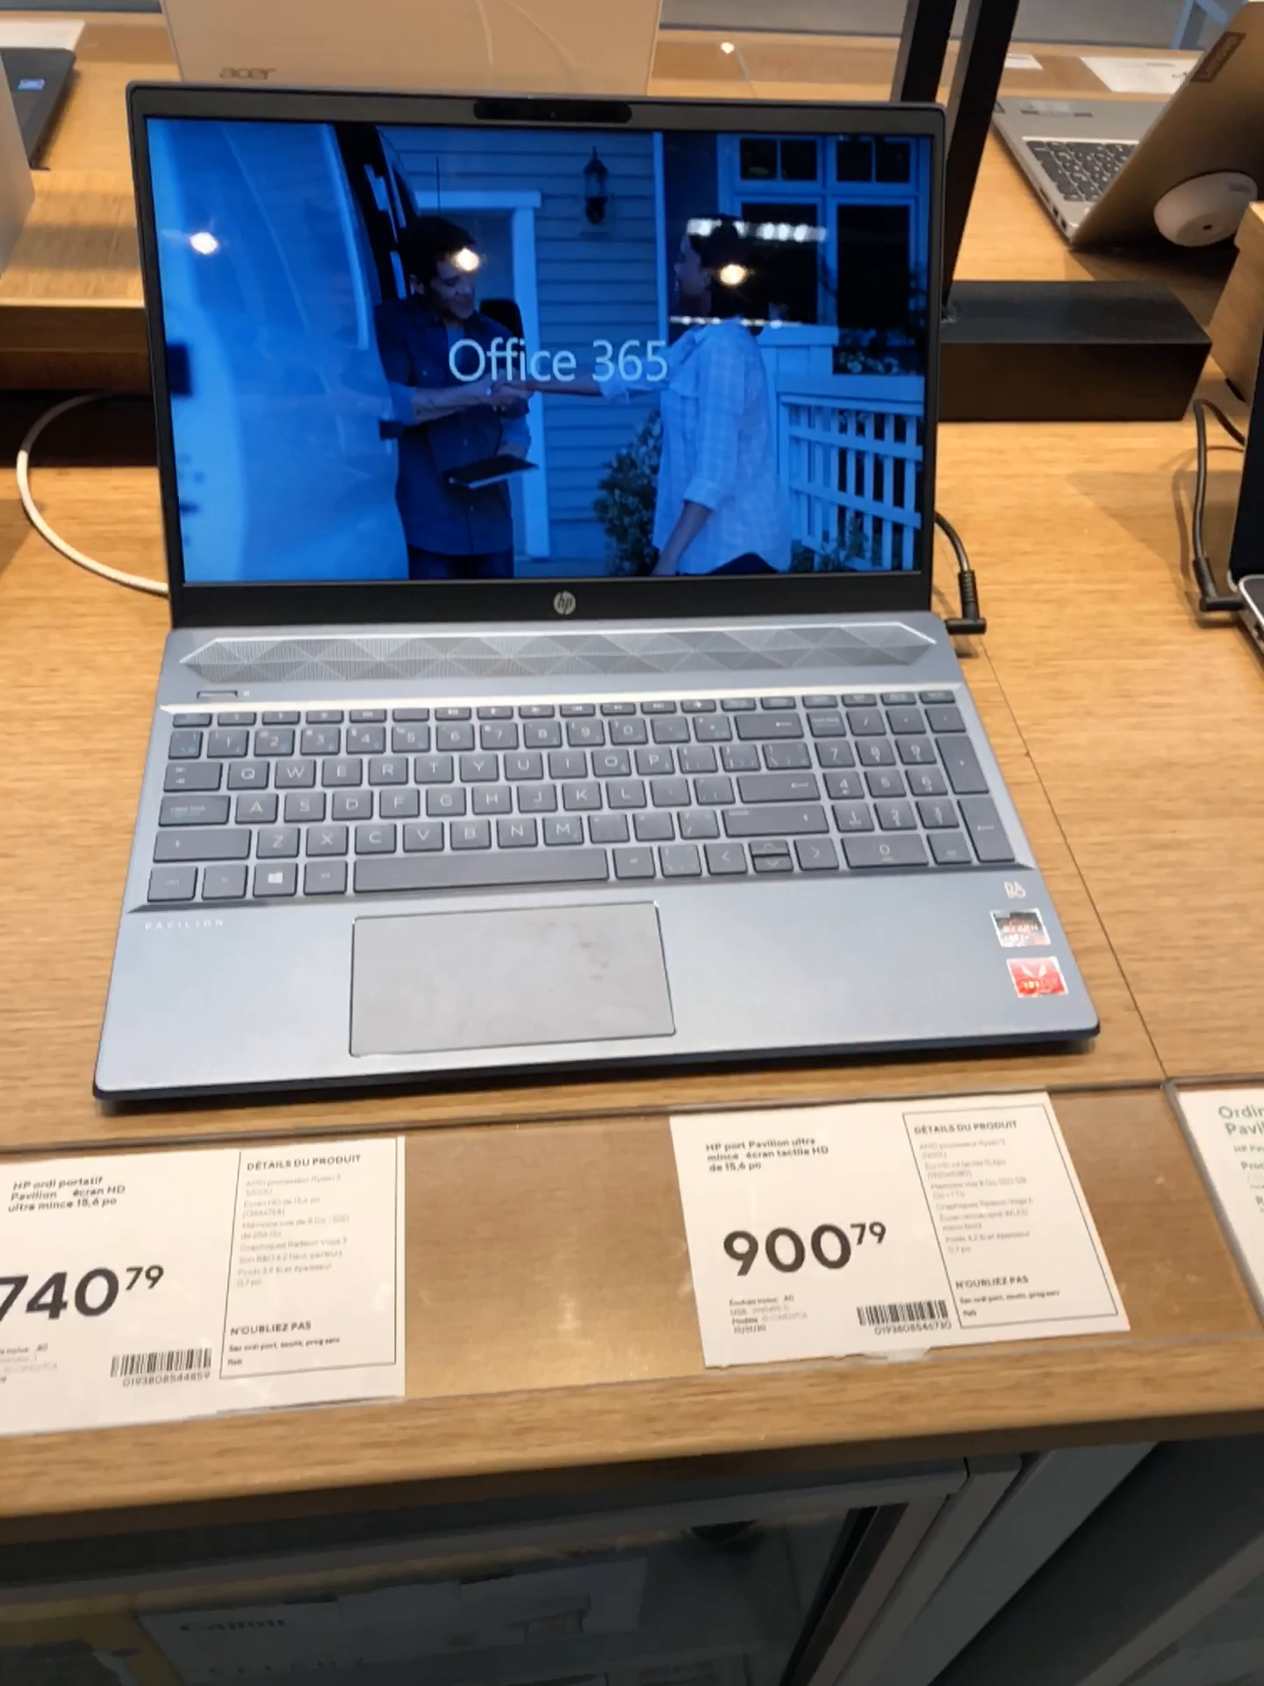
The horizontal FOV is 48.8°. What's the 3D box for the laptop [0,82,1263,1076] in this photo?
[{"bbox_3d":[-0.020,-0.122,0.536,0.338,0.185,0.357,-2,47,-8],"label":"laptop"}]
